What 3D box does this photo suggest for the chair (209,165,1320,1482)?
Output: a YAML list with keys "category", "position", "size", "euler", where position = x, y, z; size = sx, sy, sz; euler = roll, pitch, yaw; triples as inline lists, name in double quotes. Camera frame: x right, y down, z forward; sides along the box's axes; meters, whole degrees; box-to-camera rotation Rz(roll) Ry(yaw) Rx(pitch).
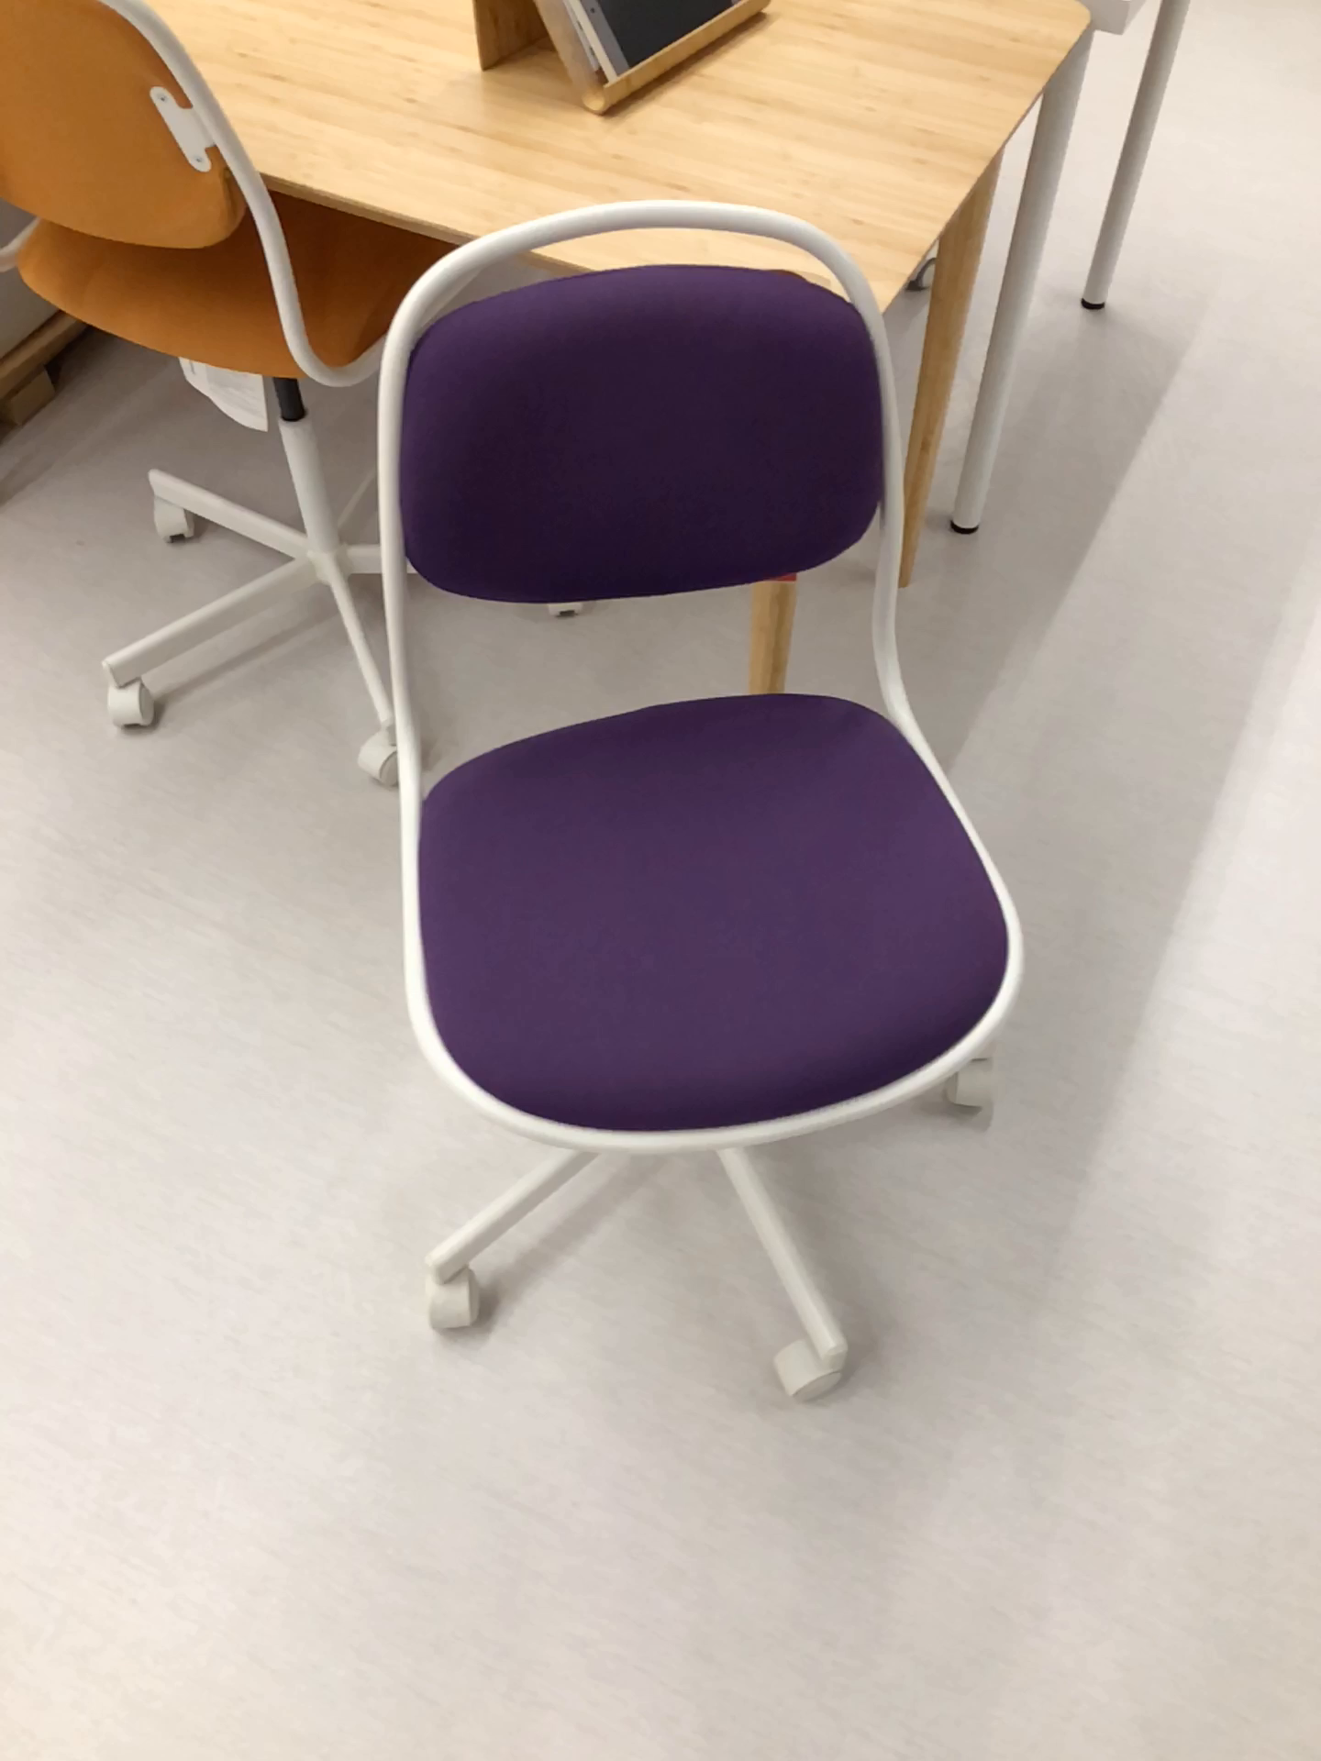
- category: "chair"
  position: [0.047, -0.008, 1.180]
  size: [0.620, 0.776, 0.664]
  euler: [-8, 54, -6]
